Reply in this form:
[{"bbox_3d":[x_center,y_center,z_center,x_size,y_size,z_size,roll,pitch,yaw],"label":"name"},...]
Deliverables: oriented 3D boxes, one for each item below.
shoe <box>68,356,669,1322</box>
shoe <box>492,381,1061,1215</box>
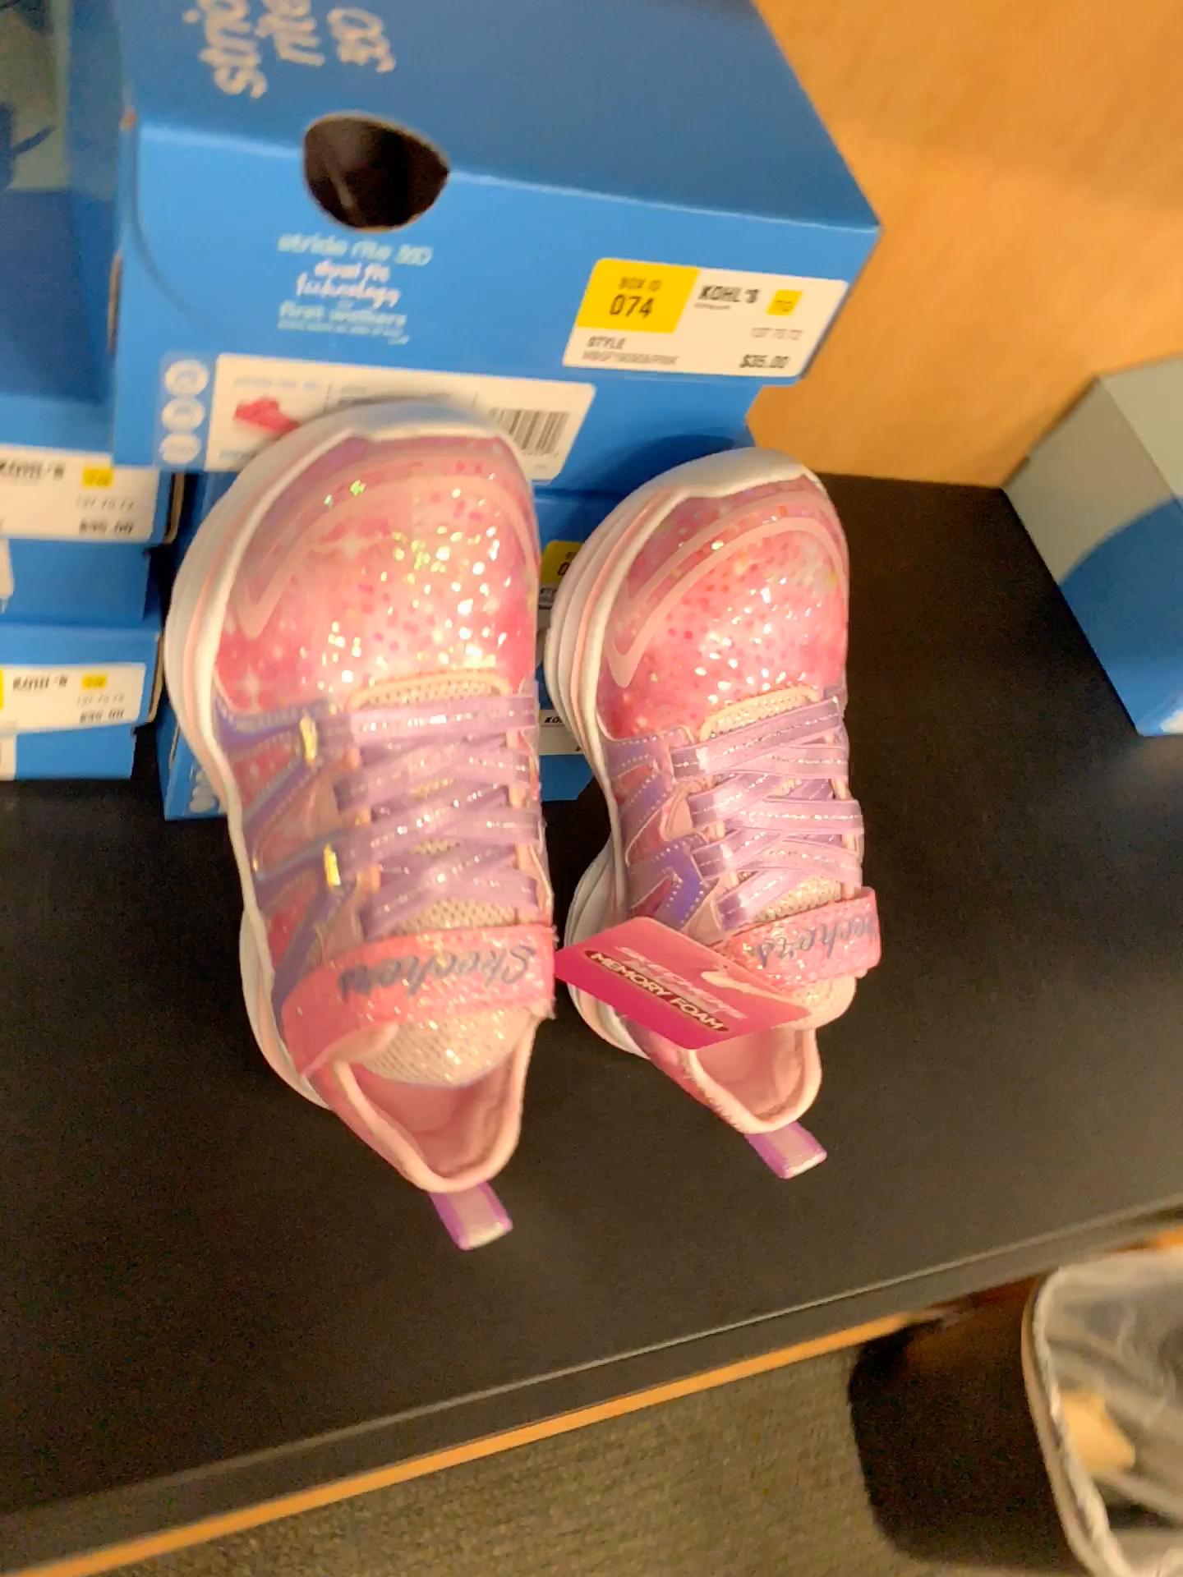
[{"bbox_3d":[-0.052,0.021,0.282,0.090,0.209,0.080,-9,41,-19],"label":"shoe"},{"bbox_3d":[0.031,0.010,0.322,0.090,0.199,0.080,-14,44,-21],"label":"shoe"}]
